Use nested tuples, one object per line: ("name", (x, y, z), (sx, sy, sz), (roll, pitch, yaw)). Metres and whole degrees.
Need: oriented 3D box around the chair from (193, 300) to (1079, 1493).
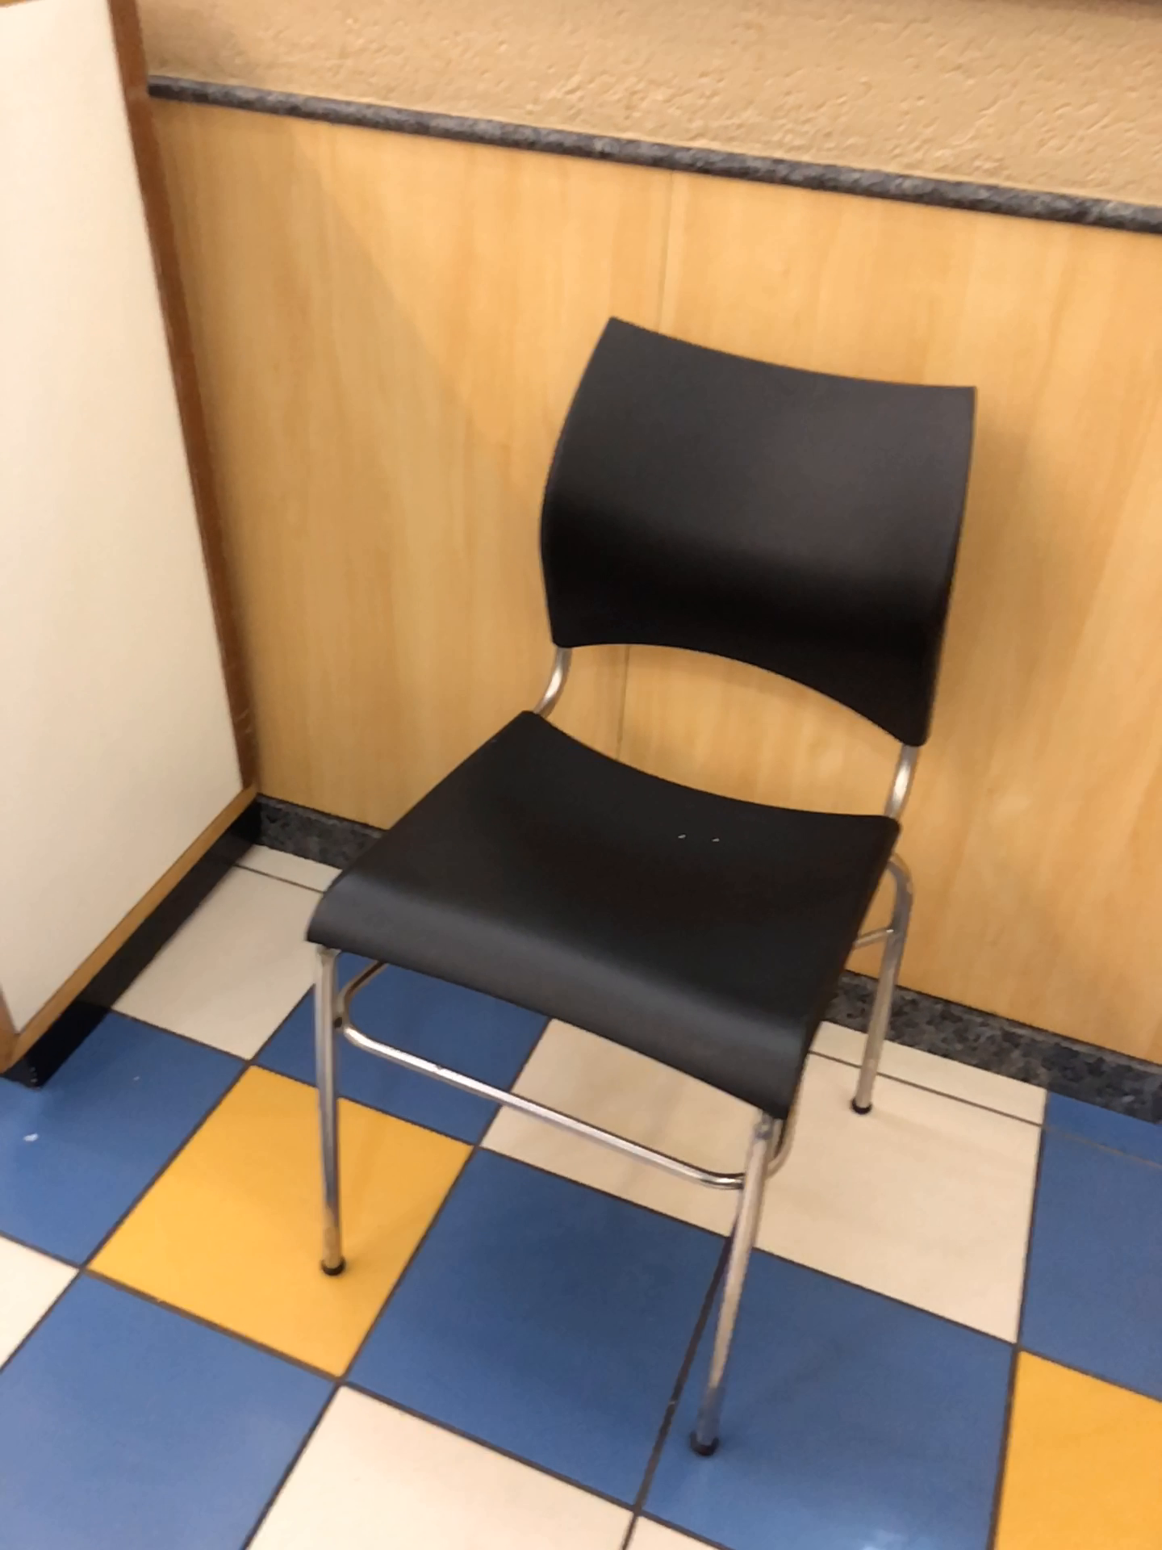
("chair", (0.064, 0.098, 1.226), (0.510, 0.873, 0.554), (17, 37, 18))
